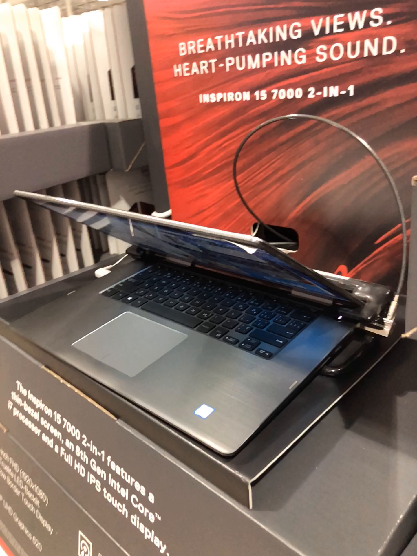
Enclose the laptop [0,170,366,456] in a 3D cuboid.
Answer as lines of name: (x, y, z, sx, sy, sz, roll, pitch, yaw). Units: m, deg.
laptop: (-0.047, -0.012, 0.502, 0.356, 0.137, 0.212, 16, 33, 41)
